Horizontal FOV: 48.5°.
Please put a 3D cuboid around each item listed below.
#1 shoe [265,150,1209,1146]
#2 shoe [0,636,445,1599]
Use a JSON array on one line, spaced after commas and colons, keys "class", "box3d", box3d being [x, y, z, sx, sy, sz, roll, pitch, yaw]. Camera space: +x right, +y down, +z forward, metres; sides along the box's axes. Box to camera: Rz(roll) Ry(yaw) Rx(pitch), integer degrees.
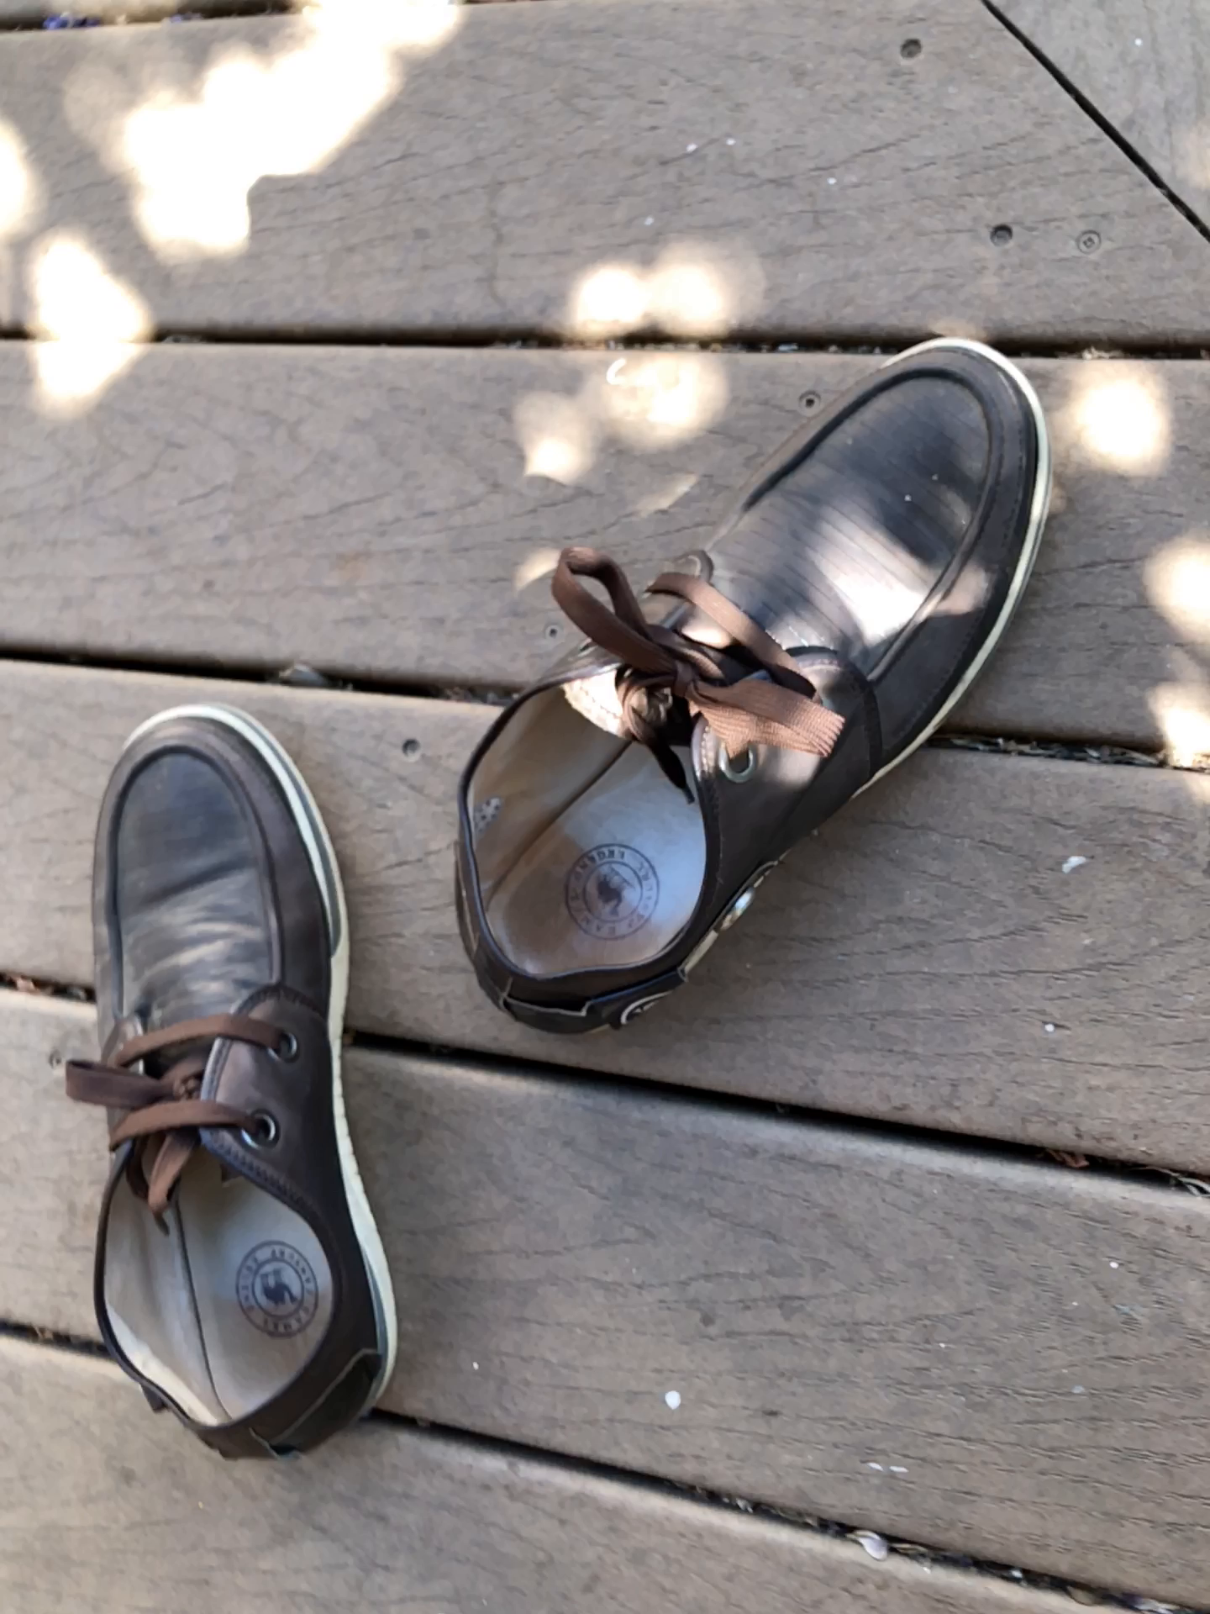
[{"class": "shoe", "box3d": [0.045, -0.042, 0.458, 0.110, 0.116, 0.303, 44, 97, 13]}, {"class": "shoe", "box3d": [-0.161, 0.105, 0.503, 0.110, 0.116, 0.301, -14, 83, 13]}]
